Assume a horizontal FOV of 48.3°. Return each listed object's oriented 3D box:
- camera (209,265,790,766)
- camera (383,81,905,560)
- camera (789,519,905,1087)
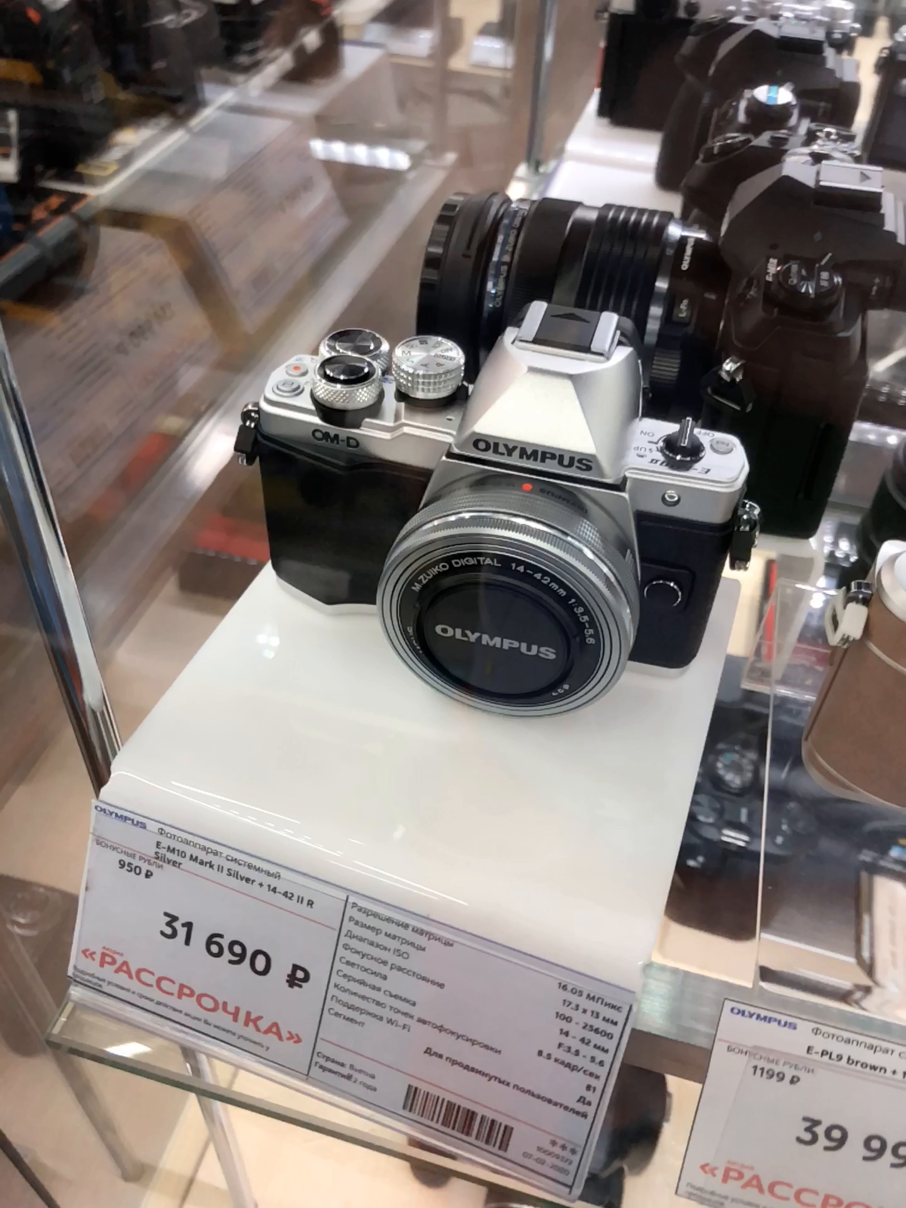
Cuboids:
[{"bbox_3d":[0.014,-0.025,0.258,0.120,0.080,0.072,12,44,9],"label":"camera"},{"bbox_3d":[0.060,-0.093,0.316,0.136,0.087,0.102,13,45,11],"label":"camera"},{"bbox_3d":[0.152,0.039,0.216,0.139,0.062,0.065,12,44,9],"label":"camera"}]
